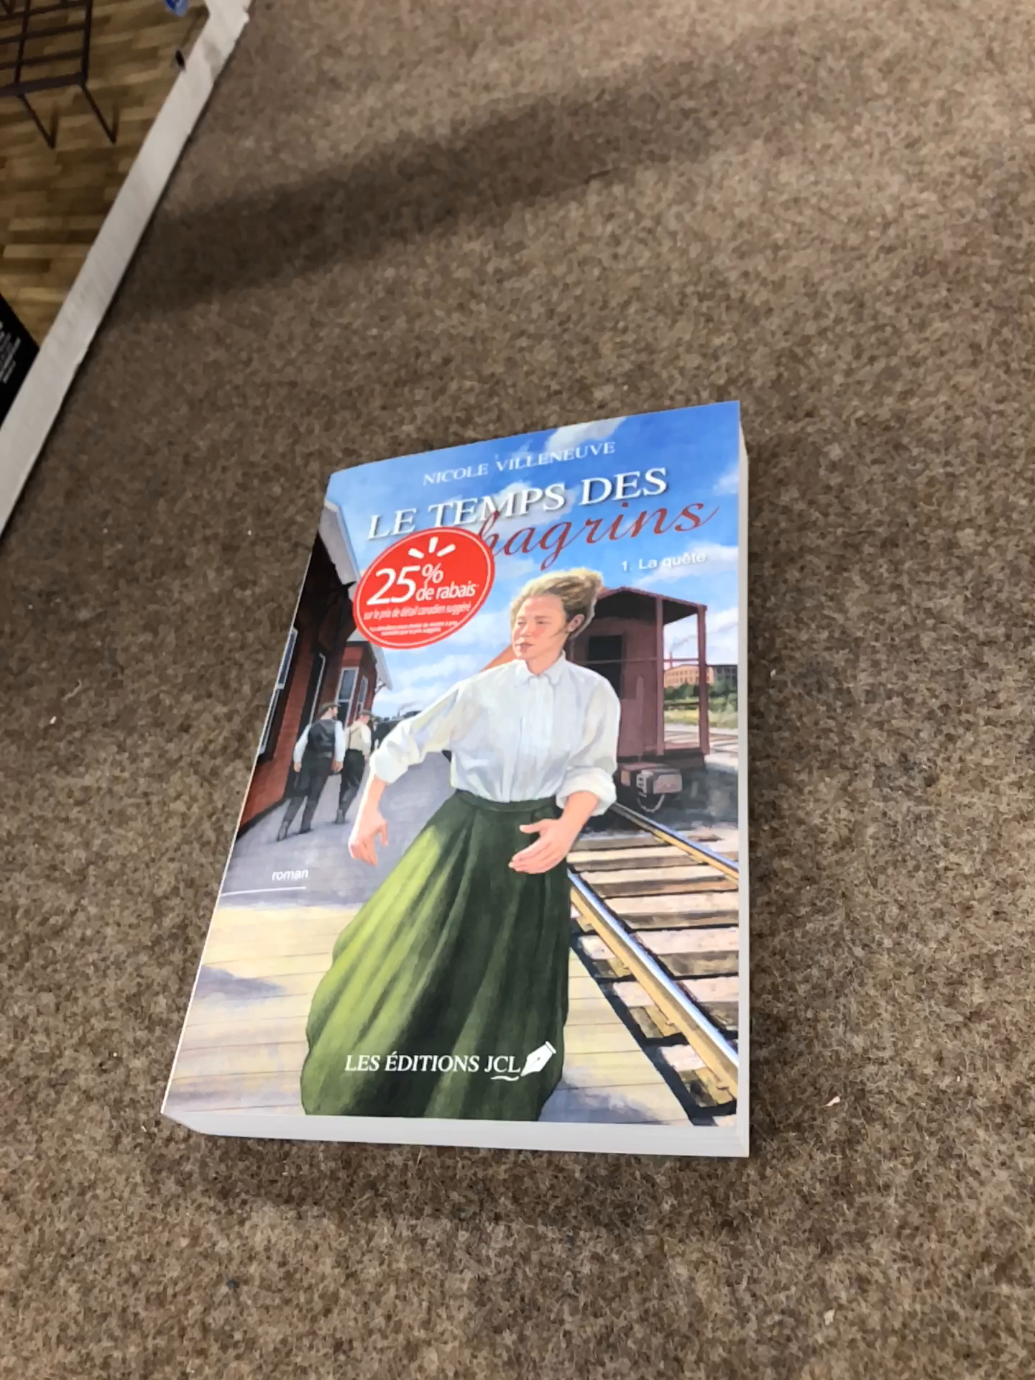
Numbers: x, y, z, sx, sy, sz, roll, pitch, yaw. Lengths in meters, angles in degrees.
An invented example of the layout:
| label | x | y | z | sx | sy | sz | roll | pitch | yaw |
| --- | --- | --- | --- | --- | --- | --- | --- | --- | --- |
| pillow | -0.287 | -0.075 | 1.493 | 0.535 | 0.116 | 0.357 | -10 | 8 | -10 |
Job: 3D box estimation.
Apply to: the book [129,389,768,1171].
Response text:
| label | x | y | z | sx | sy | sz | roll | pitch | yaw |
| --- | --- | --- | --- | --- | --- | --- | --- | --- | --- |
| book | -0.009 | 0.015 | 0.337 | 0.155 | 0.030 | 0.225 | -6 | 55 | 20 |
